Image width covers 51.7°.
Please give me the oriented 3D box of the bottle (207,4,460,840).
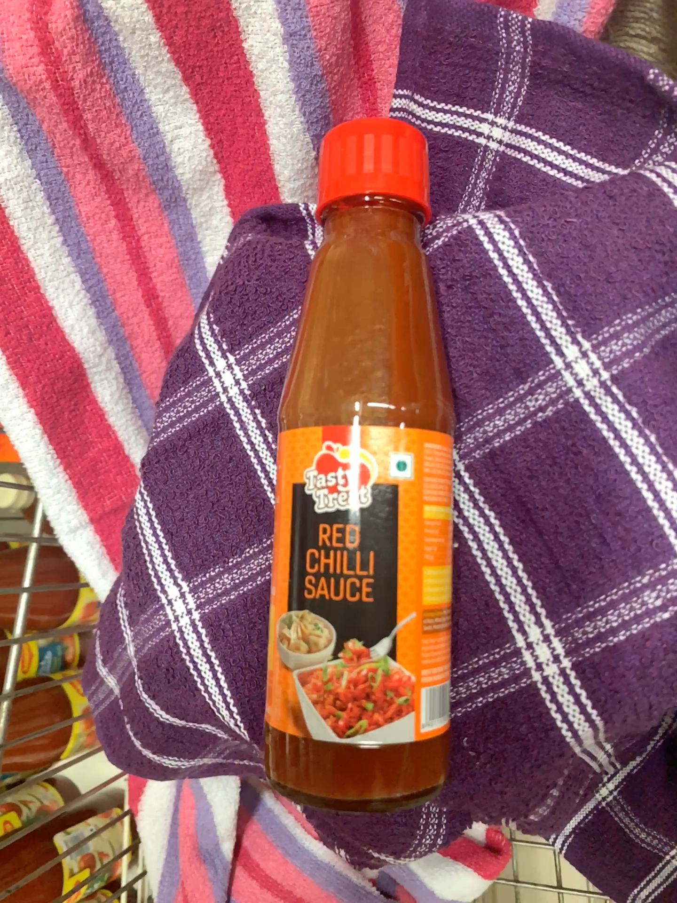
[{"bbox_3d":[0.000,-0.008,0.178,0.050,0.040,0.180,-2,85,23],"label":"bottle"}]
